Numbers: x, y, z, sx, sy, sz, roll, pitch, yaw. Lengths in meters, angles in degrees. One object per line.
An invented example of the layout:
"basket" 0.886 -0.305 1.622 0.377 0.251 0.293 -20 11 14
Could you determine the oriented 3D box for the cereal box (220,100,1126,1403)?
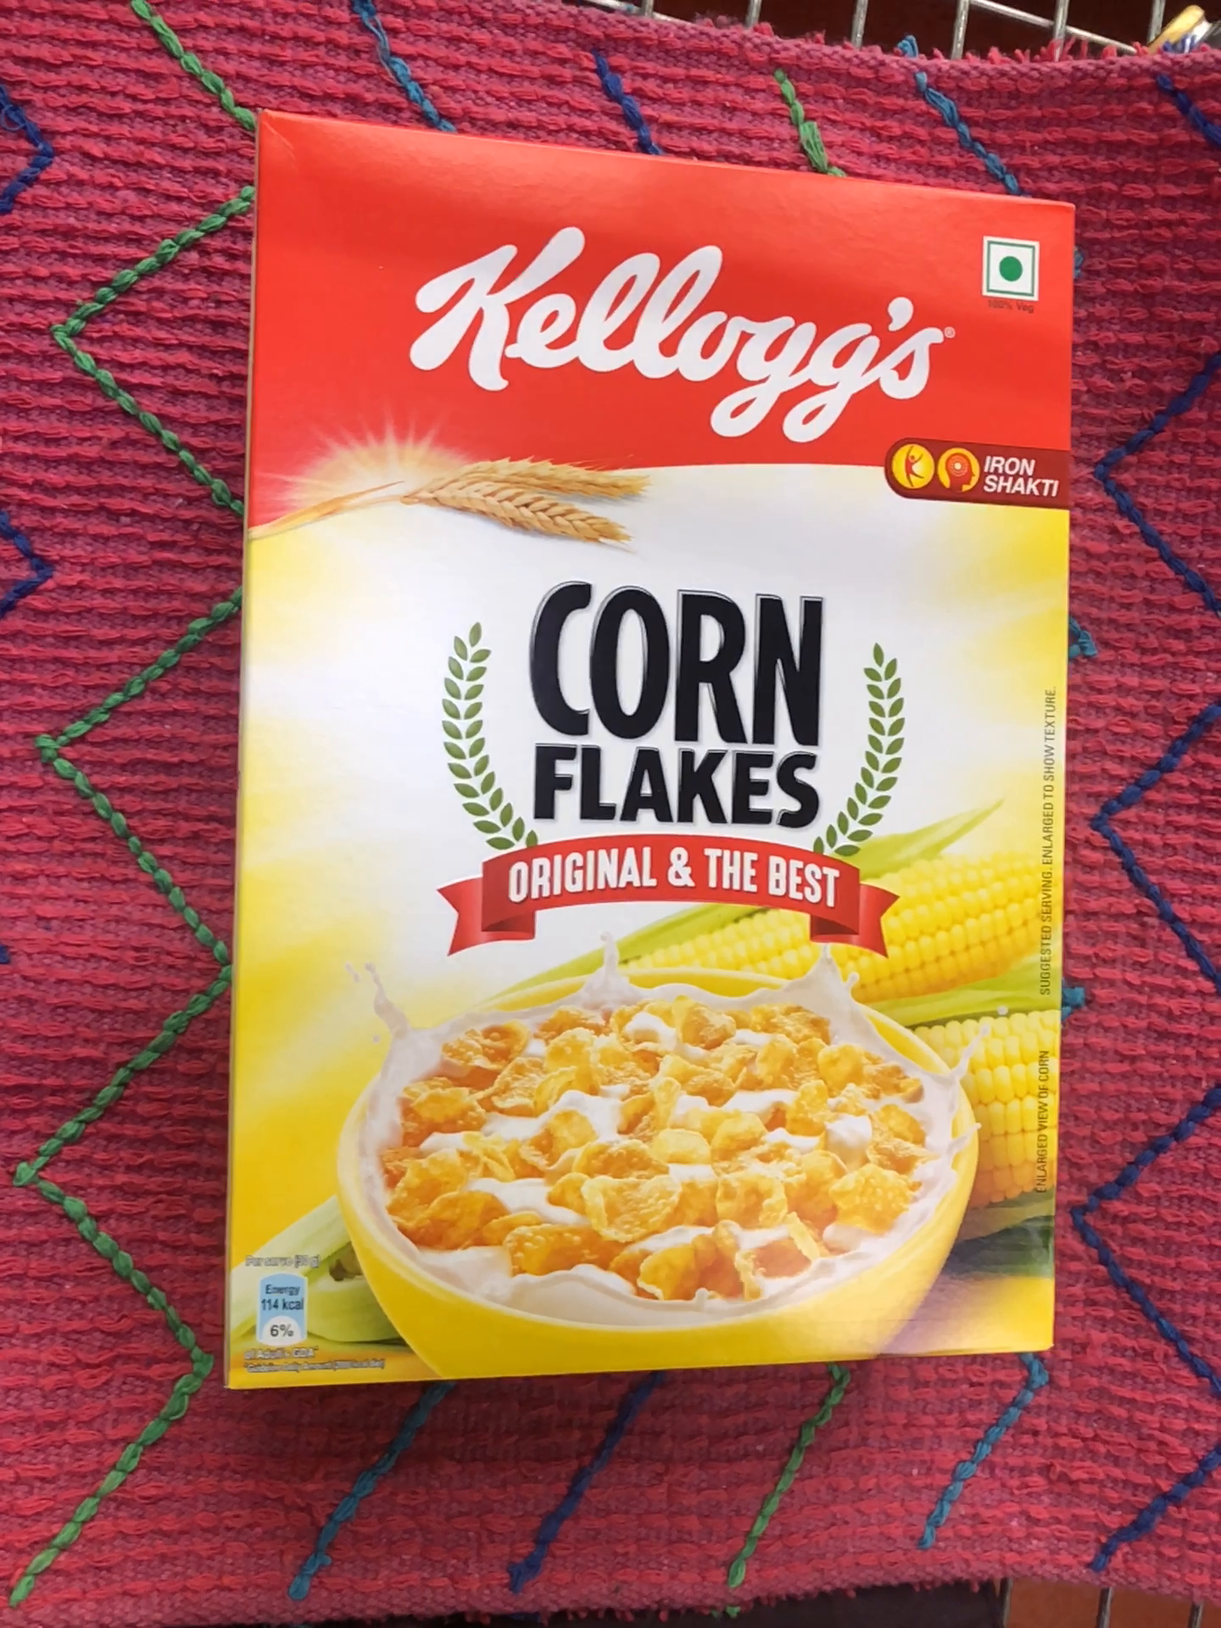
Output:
"cereal box" 0.012 -0.011 0.321 0.190 0.070 0.260 1 90 -10
